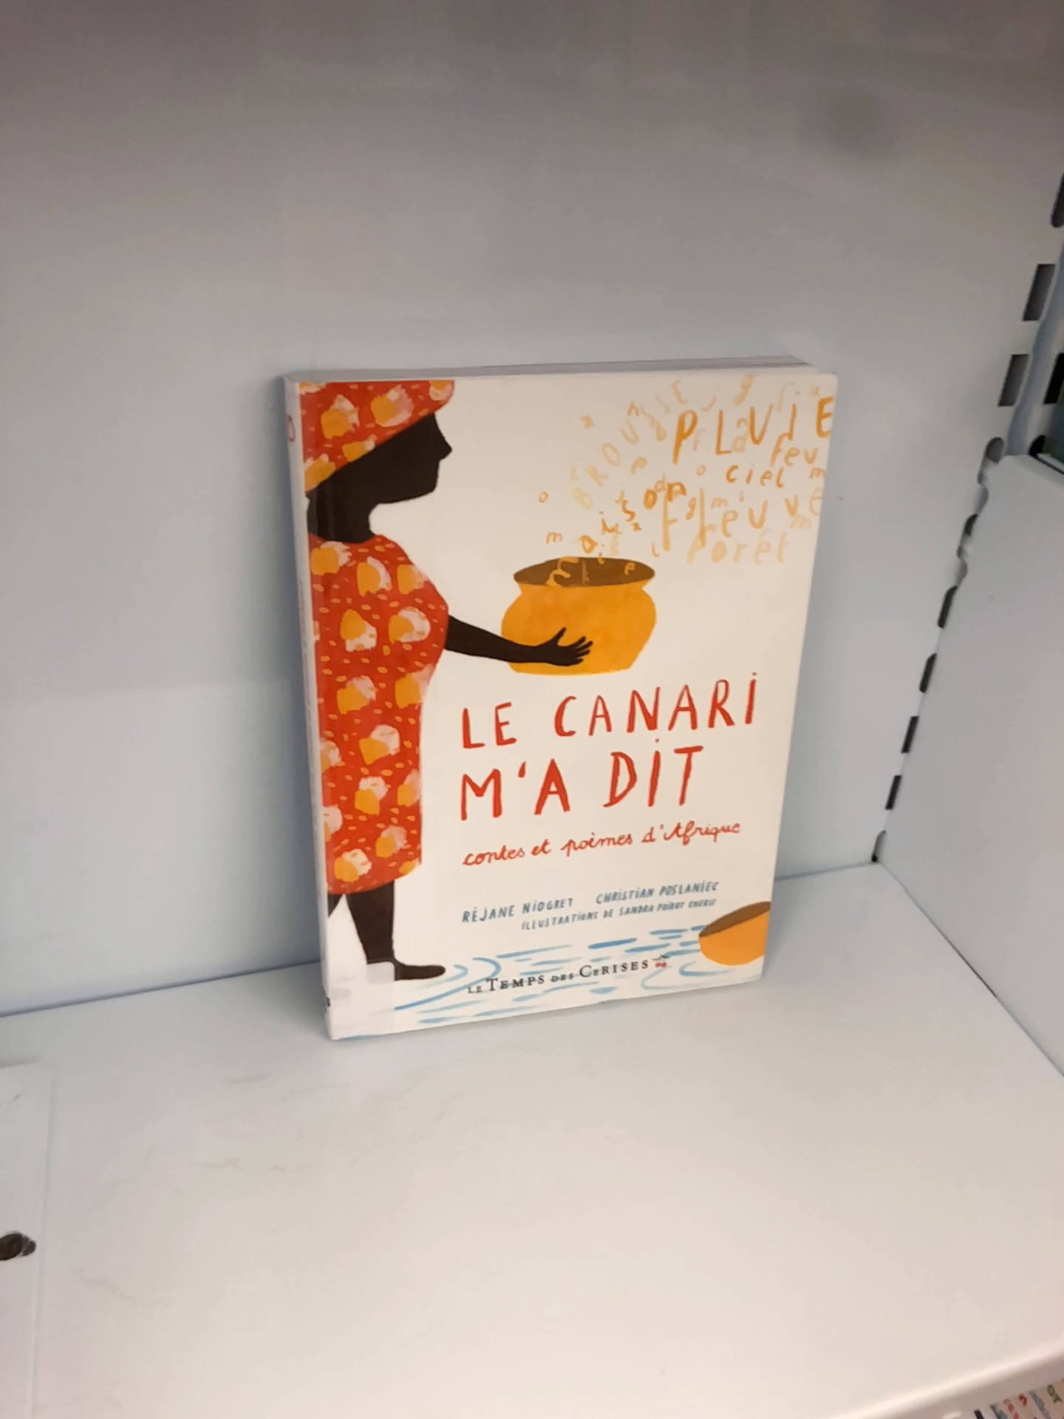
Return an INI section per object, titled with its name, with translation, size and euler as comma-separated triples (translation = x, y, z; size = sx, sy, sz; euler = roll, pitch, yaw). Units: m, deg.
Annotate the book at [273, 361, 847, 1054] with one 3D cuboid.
[book]
translation = 0.005, 0.001, 0.355
size = 0.149, 0.199, 0.037
euler = -5, 25, -15
